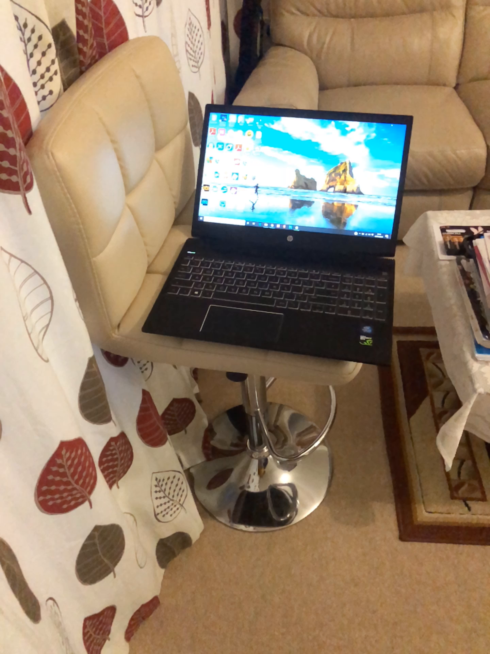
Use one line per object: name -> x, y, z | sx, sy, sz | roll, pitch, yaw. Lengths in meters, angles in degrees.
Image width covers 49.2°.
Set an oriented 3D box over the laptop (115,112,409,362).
laptop -> 0.059, -0.166, 0.820 | 0.348, 0.159, 0.403 | 7, 44, 10
